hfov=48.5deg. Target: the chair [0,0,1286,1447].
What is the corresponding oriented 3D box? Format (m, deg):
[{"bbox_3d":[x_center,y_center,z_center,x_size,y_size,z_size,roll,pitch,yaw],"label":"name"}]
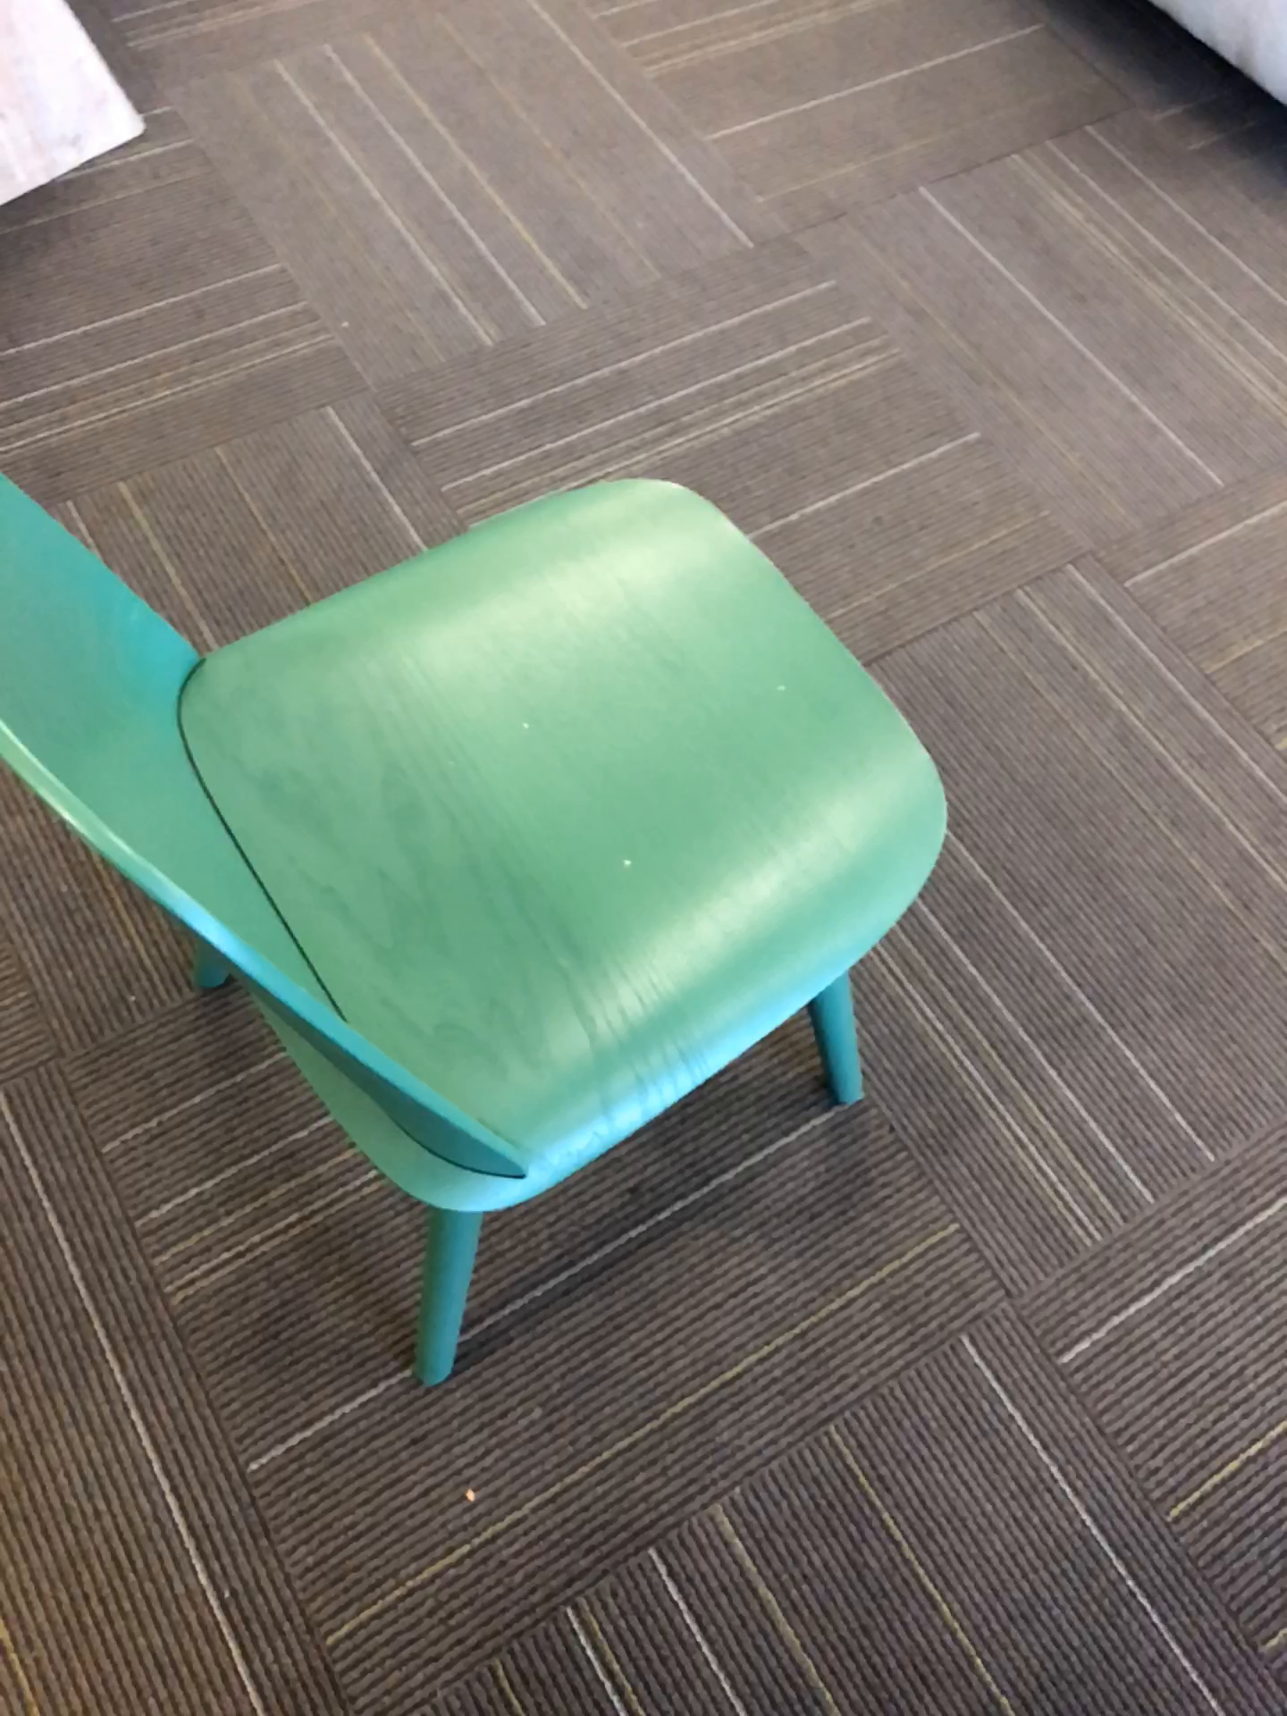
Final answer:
[{"bbox_3d":[-0.082,-0.043,0.924,0.500,0.778,0.501,-28,66,-19],"label":"chair"}]
